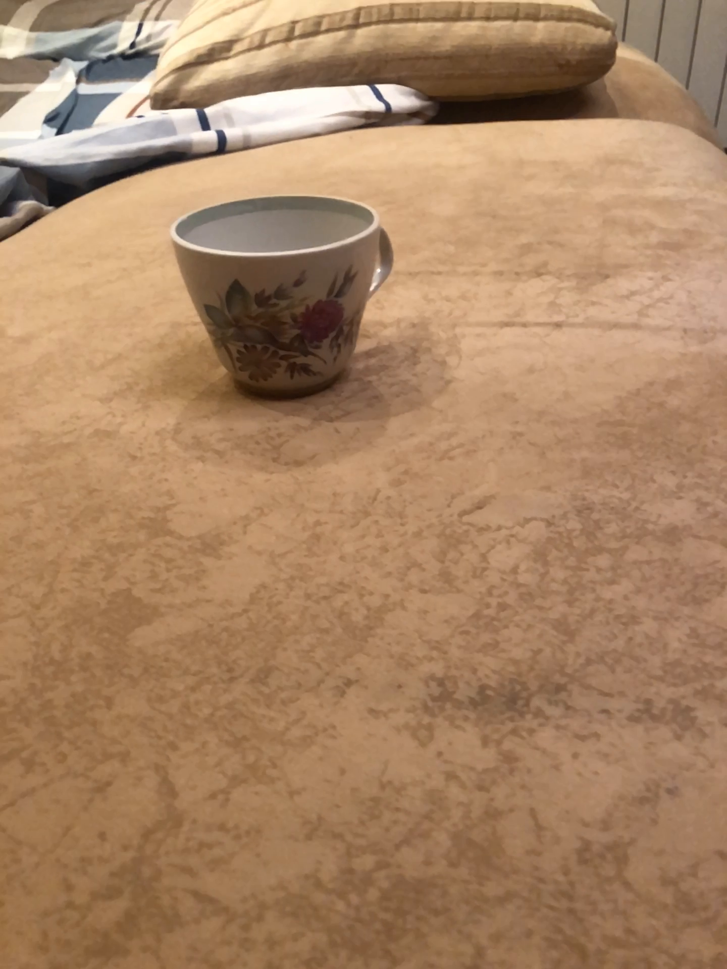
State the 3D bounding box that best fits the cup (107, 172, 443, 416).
[{"bbox_3d":[-0.035,-0.091,0.356,0.090,0.060,0.110,25,42,36],"label":"cup"}]
